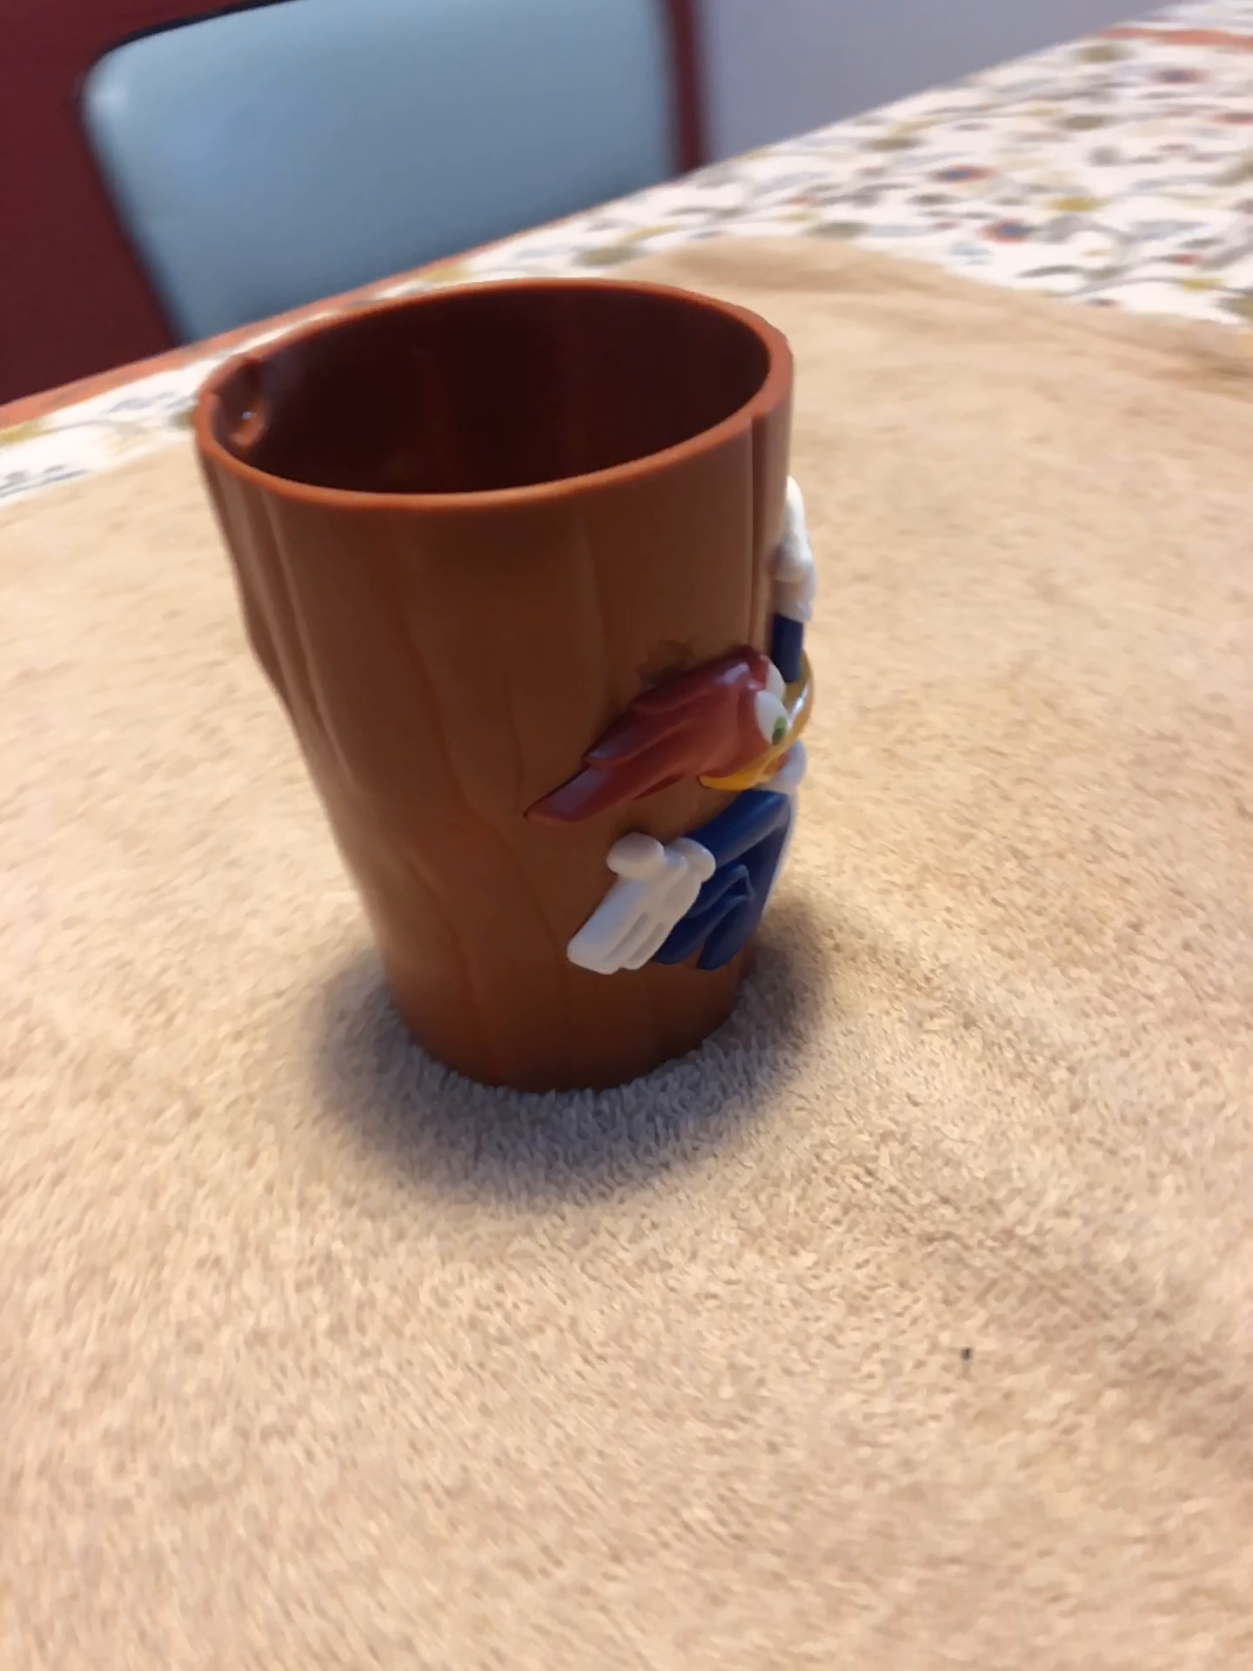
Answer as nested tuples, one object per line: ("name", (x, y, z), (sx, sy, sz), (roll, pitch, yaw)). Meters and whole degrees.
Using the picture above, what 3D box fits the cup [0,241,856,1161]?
("cup", (-0.017, -0.025, 0.222), (0.090, 0.109, 0.080), (9, 41, 20))
